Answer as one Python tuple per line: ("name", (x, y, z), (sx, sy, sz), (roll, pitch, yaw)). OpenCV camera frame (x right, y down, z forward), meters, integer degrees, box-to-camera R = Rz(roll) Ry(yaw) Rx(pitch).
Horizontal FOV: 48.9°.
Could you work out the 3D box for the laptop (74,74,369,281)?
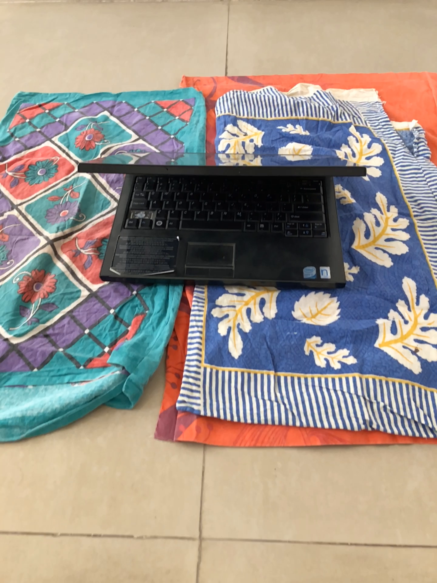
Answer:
("laptop", (0.008, -0.152, 0.617), (0.298, 0.143, 0.236), (2, 51, 3))
